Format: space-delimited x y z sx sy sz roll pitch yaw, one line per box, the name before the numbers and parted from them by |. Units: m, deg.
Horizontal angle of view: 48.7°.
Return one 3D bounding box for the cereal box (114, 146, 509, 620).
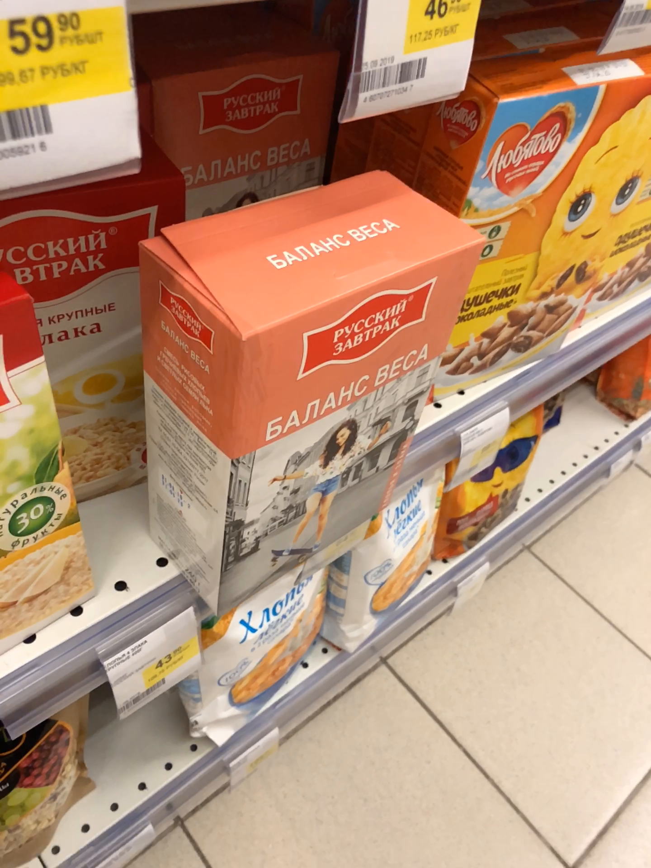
cereal box | -0.013 -0.020 0.339 0.140 0.179 0.070 -29 59 -32
